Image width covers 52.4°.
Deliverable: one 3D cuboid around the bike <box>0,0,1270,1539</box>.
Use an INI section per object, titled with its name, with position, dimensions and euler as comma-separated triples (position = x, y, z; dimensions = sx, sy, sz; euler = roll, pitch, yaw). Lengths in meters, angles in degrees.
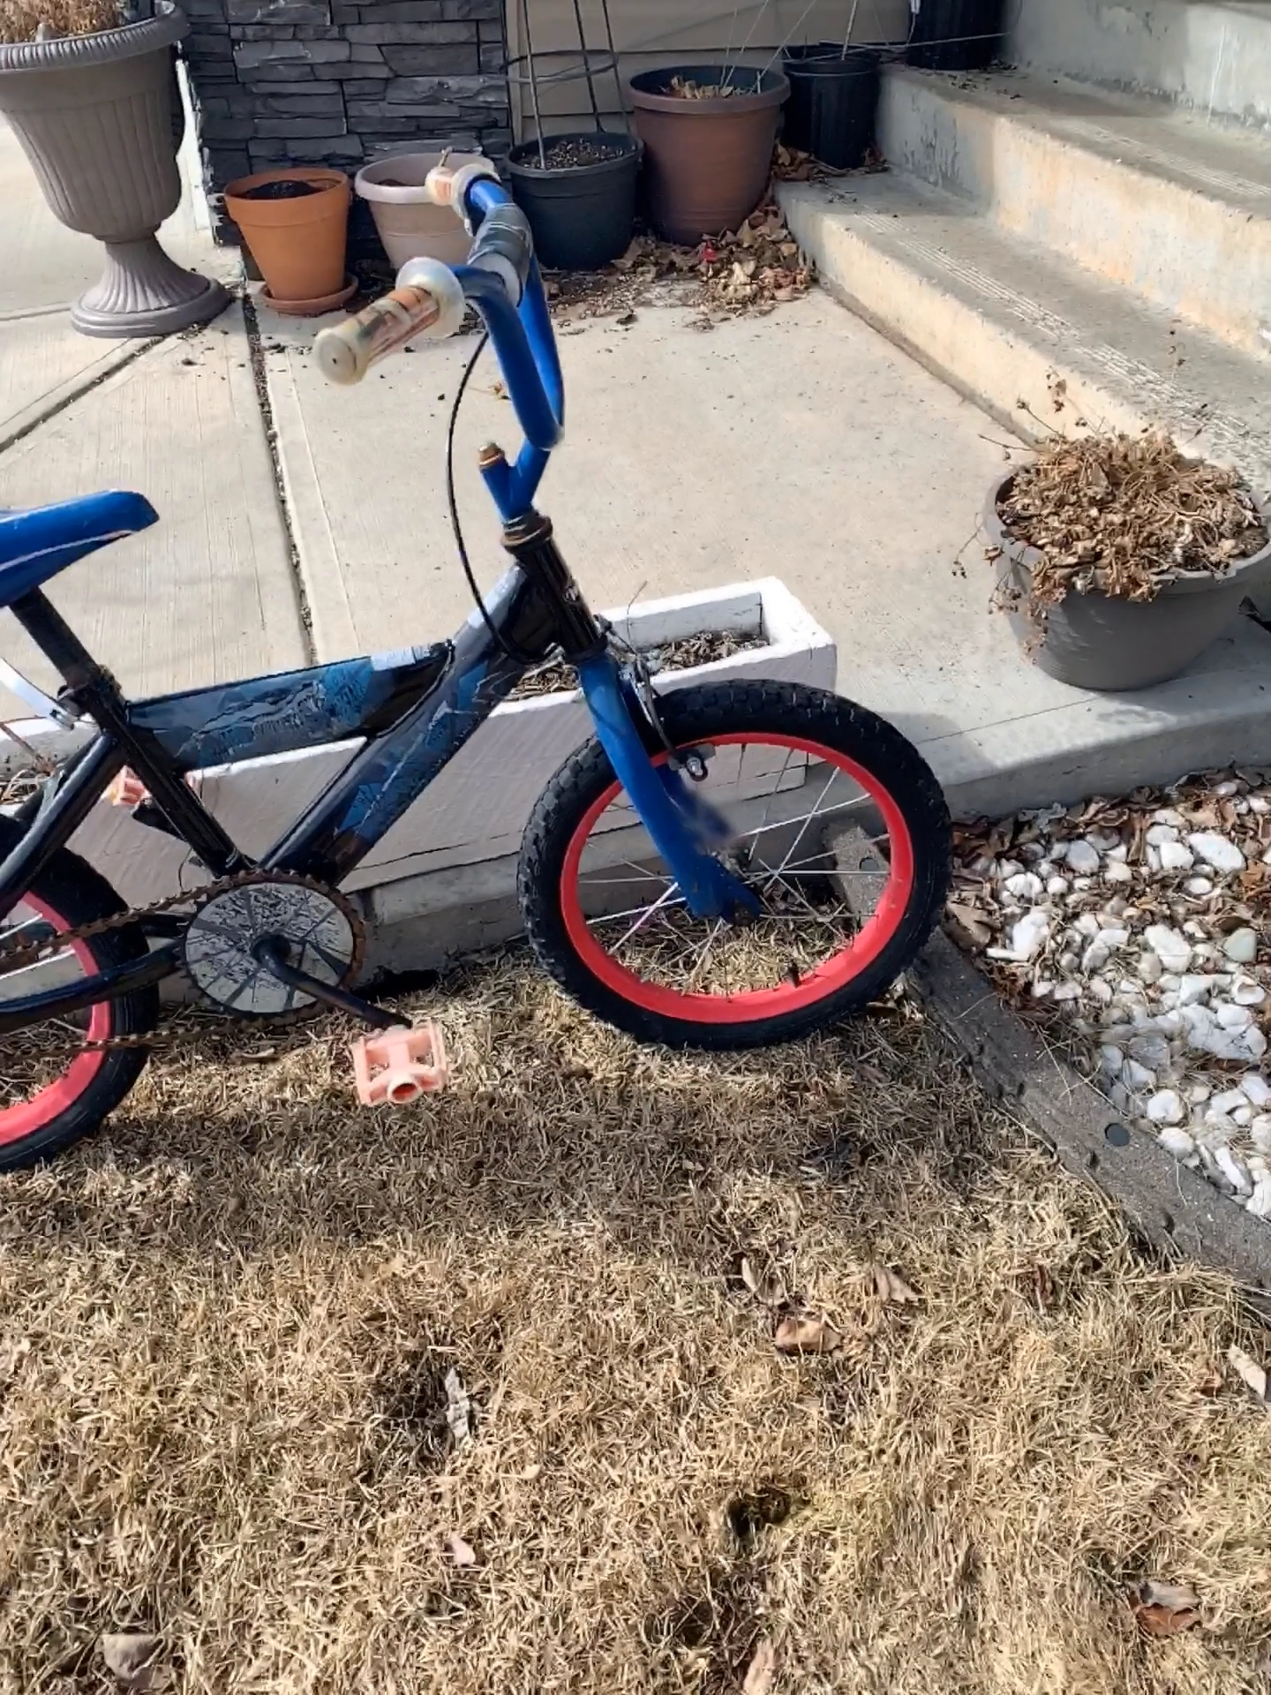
[bike]
position = -0.237, -0.068, 0.861
dimensions = 1.023, 0.728, 0.538
euler = -10, 40, -4
